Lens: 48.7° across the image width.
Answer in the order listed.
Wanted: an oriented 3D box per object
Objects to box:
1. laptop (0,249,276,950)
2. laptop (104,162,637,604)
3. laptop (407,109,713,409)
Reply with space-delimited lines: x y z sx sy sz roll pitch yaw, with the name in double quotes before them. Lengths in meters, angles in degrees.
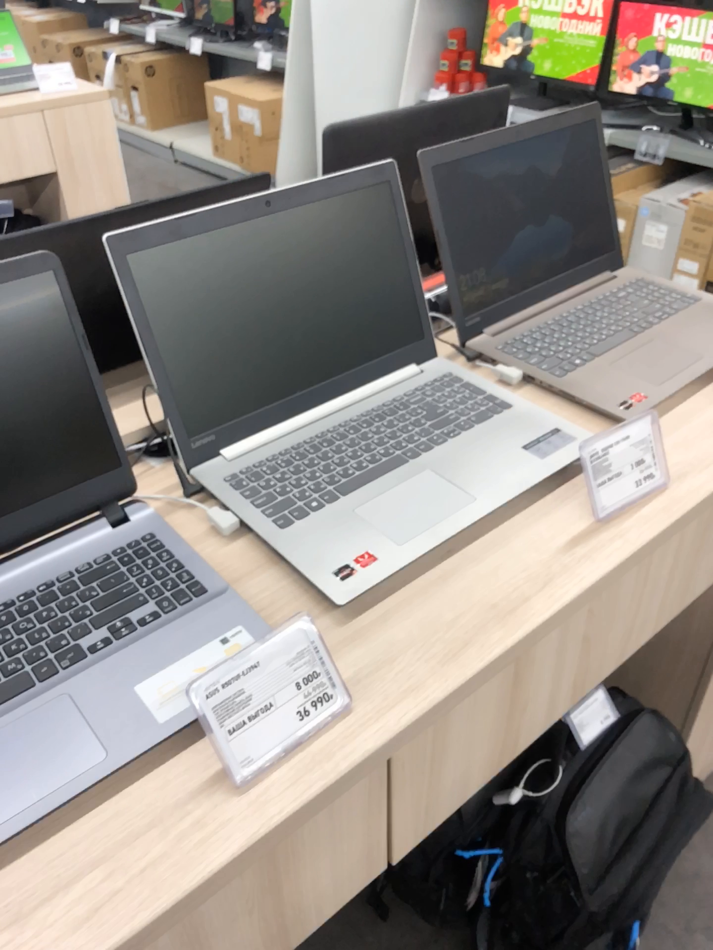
"laptop" -0.283 0.037 0.561 0.327 0.232 0.319 -26 43 -30
"laptop" 0.012 -0.130 0.794 0.366 0.220 0.336 -28 44 -31
"laptop" 0.327 -0.298 1.009 0.358 0.222 0.327 -29 45 -33
